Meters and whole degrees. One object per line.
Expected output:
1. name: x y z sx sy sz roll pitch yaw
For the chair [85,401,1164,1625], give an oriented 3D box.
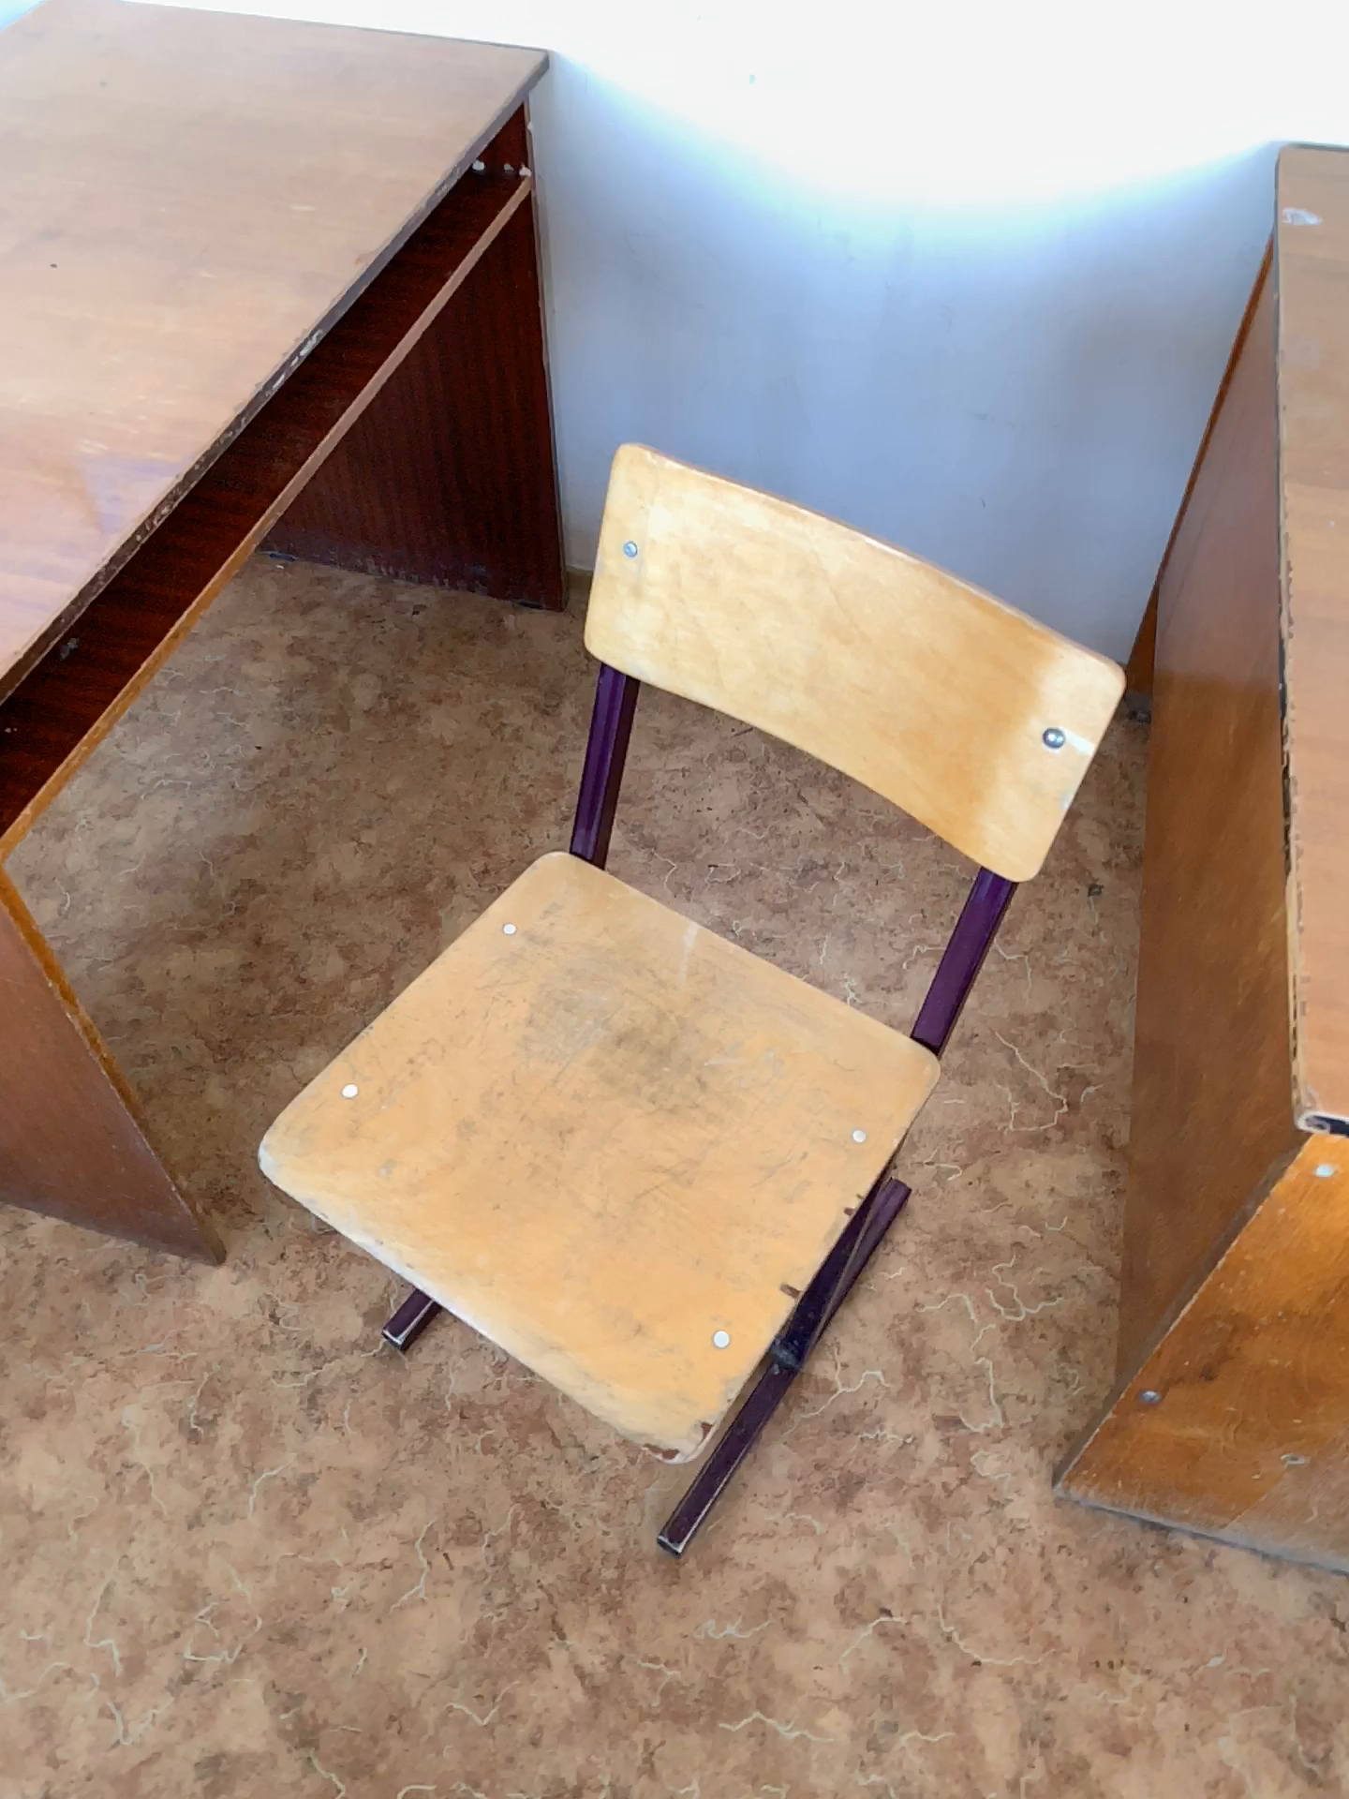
1. chair: -0.007 0.126 1.027 0.381 0.734 0.472 29 56 22
